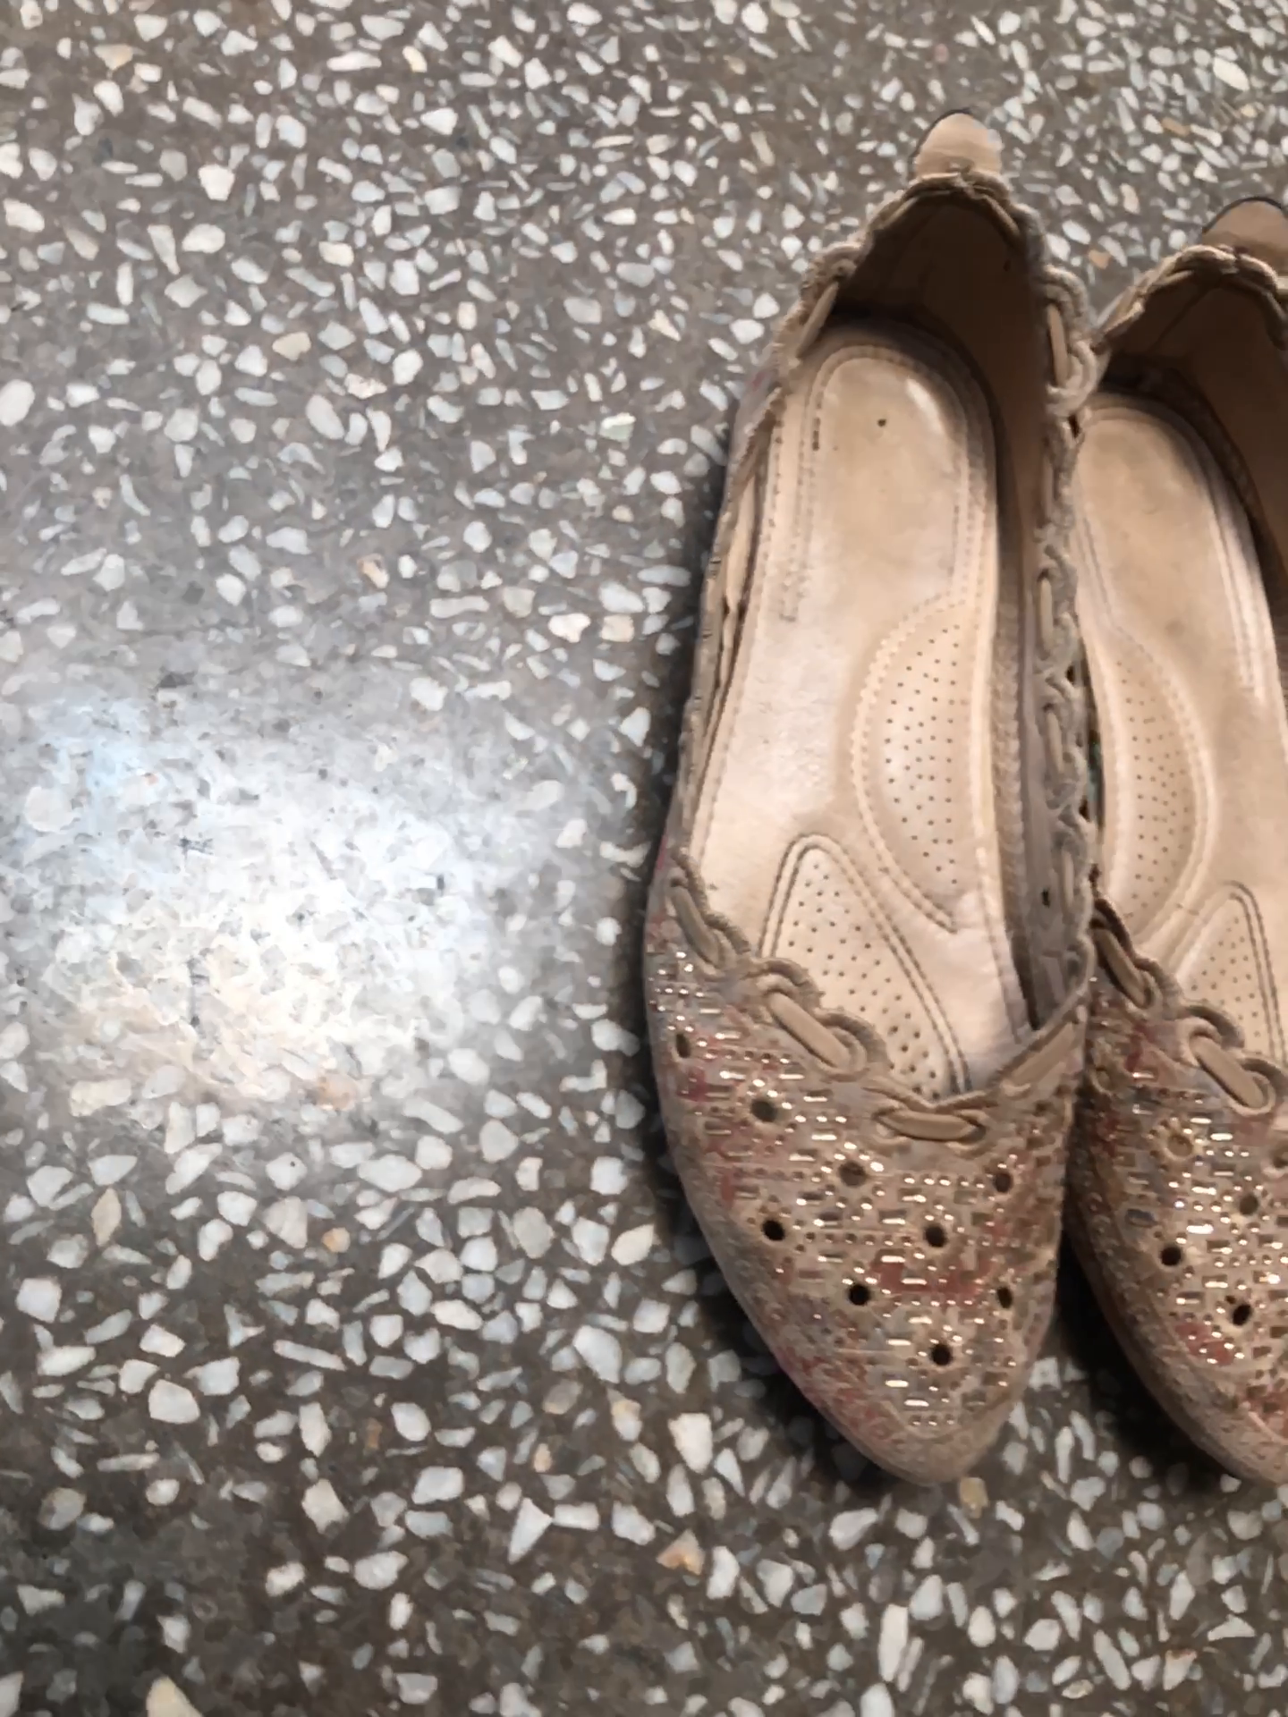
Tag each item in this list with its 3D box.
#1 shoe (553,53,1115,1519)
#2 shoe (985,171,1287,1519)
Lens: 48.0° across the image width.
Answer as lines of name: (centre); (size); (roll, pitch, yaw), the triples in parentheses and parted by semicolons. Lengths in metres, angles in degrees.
shoe: (0.035, -0.023, 0.293); (0.090, 0.040, 0.280); (6, 74, -16)
shoe: (0.126, -0.008, 0.314); (0.090, 0.040, 0.270); (6, 78, -16)
